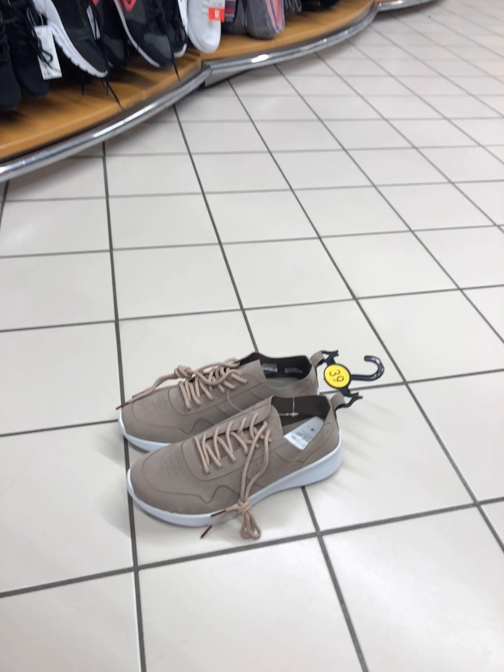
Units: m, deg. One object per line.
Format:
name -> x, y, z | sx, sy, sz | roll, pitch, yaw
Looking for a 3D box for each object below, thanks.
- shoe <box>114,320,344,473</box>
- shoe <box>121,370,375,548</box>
shoe -> -0.031, 0.069, 0.687 | 0.254, 0.099, 0.100 | -10, 43, -17
shoe -> -0.004, 0.131, 0.625 | 0.258, 0.080, 0.100 | -13, 44, -20
